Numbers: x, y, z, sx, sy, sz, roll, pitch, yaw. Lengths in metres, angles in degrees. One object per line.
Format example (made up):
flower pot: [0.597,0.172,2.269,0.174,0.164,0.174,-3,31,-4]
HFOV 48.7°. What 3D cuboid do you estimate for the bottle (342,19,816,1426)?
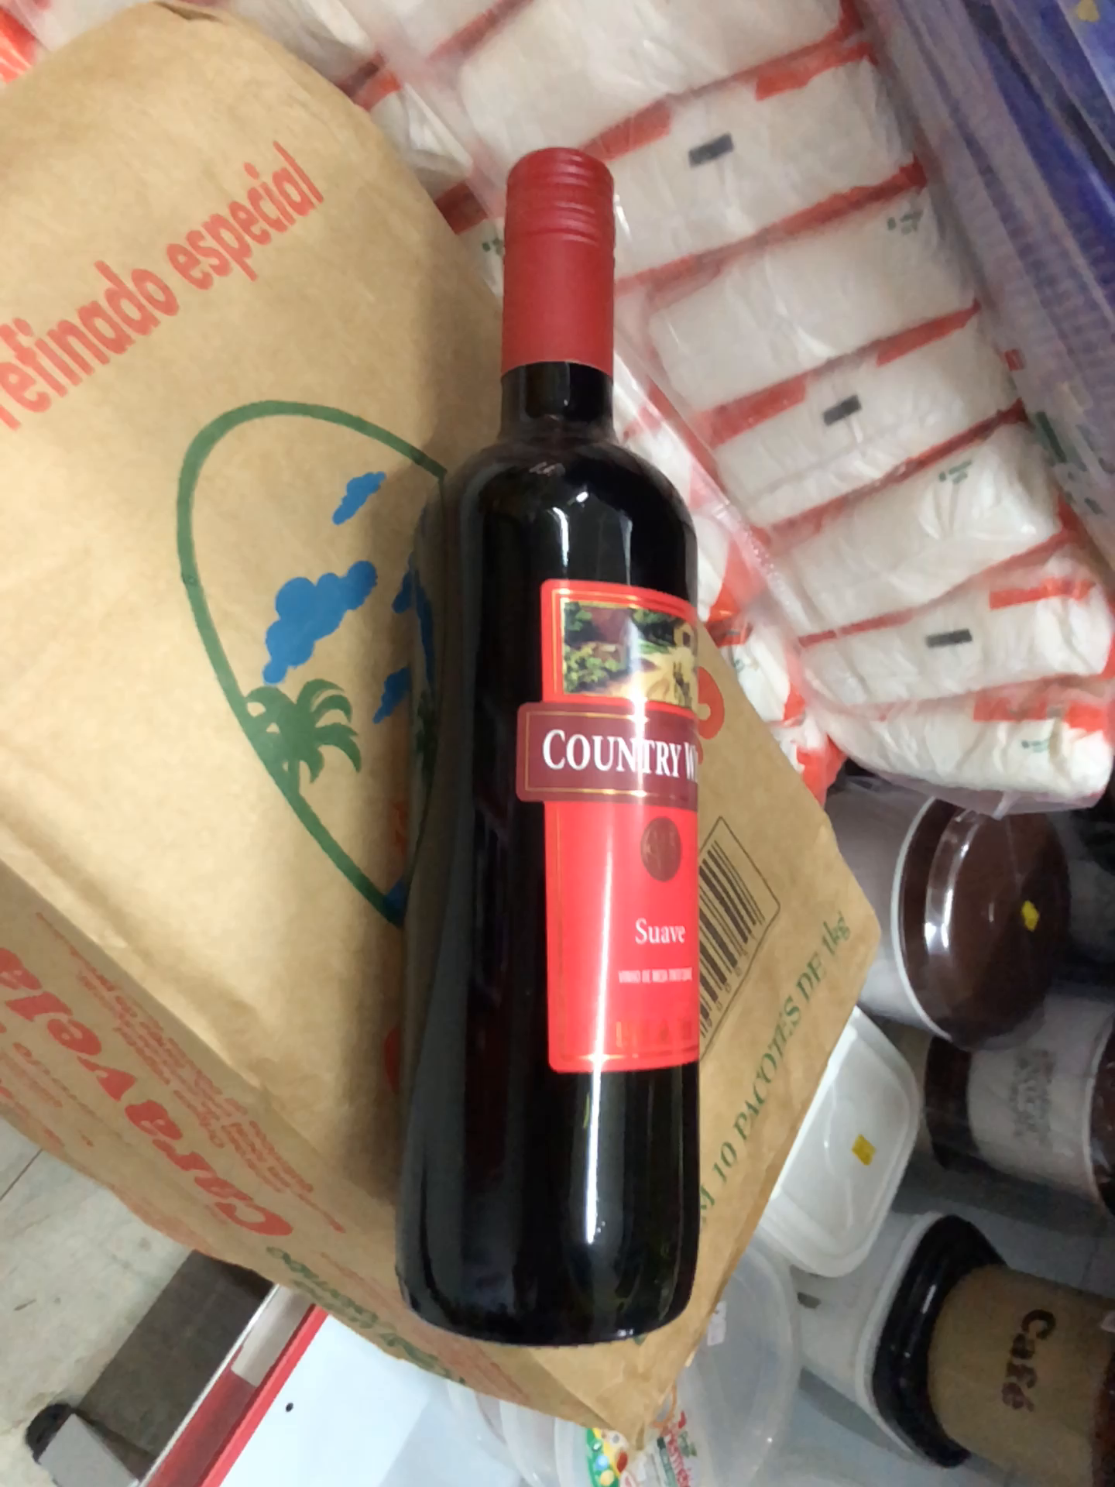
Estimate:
bottle: [0.007,-0.006,0.301,0.081,0.060,0.290,6,86,-40]
